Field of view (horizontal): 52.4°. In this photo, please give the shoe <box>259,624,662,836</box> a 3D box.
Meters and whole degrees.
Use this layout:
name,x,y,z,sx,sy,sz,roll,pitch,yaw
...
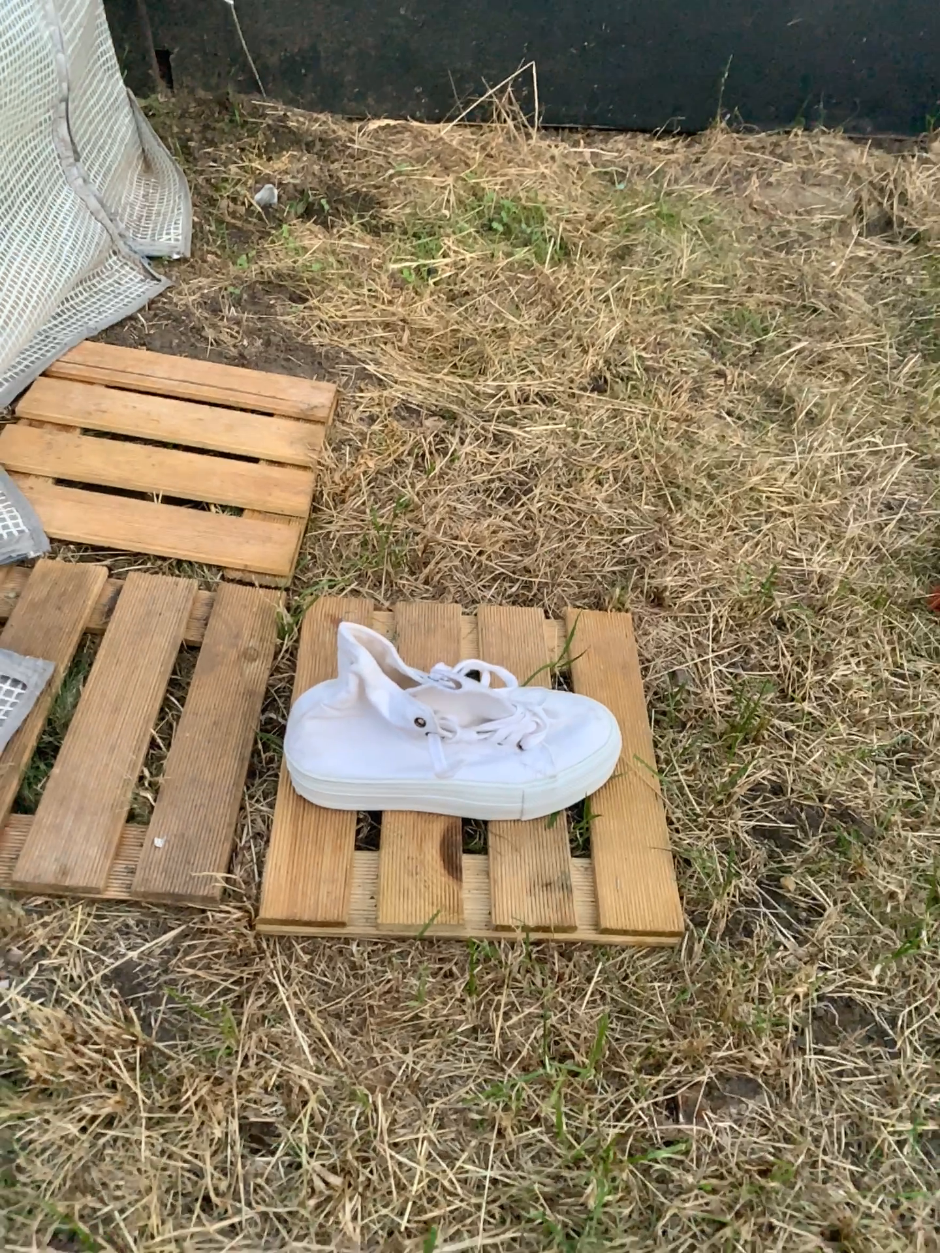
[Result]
name,x,y,z,sx,sy,sz,roll,pitch,yaw
shoe,-0.008,0.075,0.690,0.260,0.109,0.101,-1,48,-2
